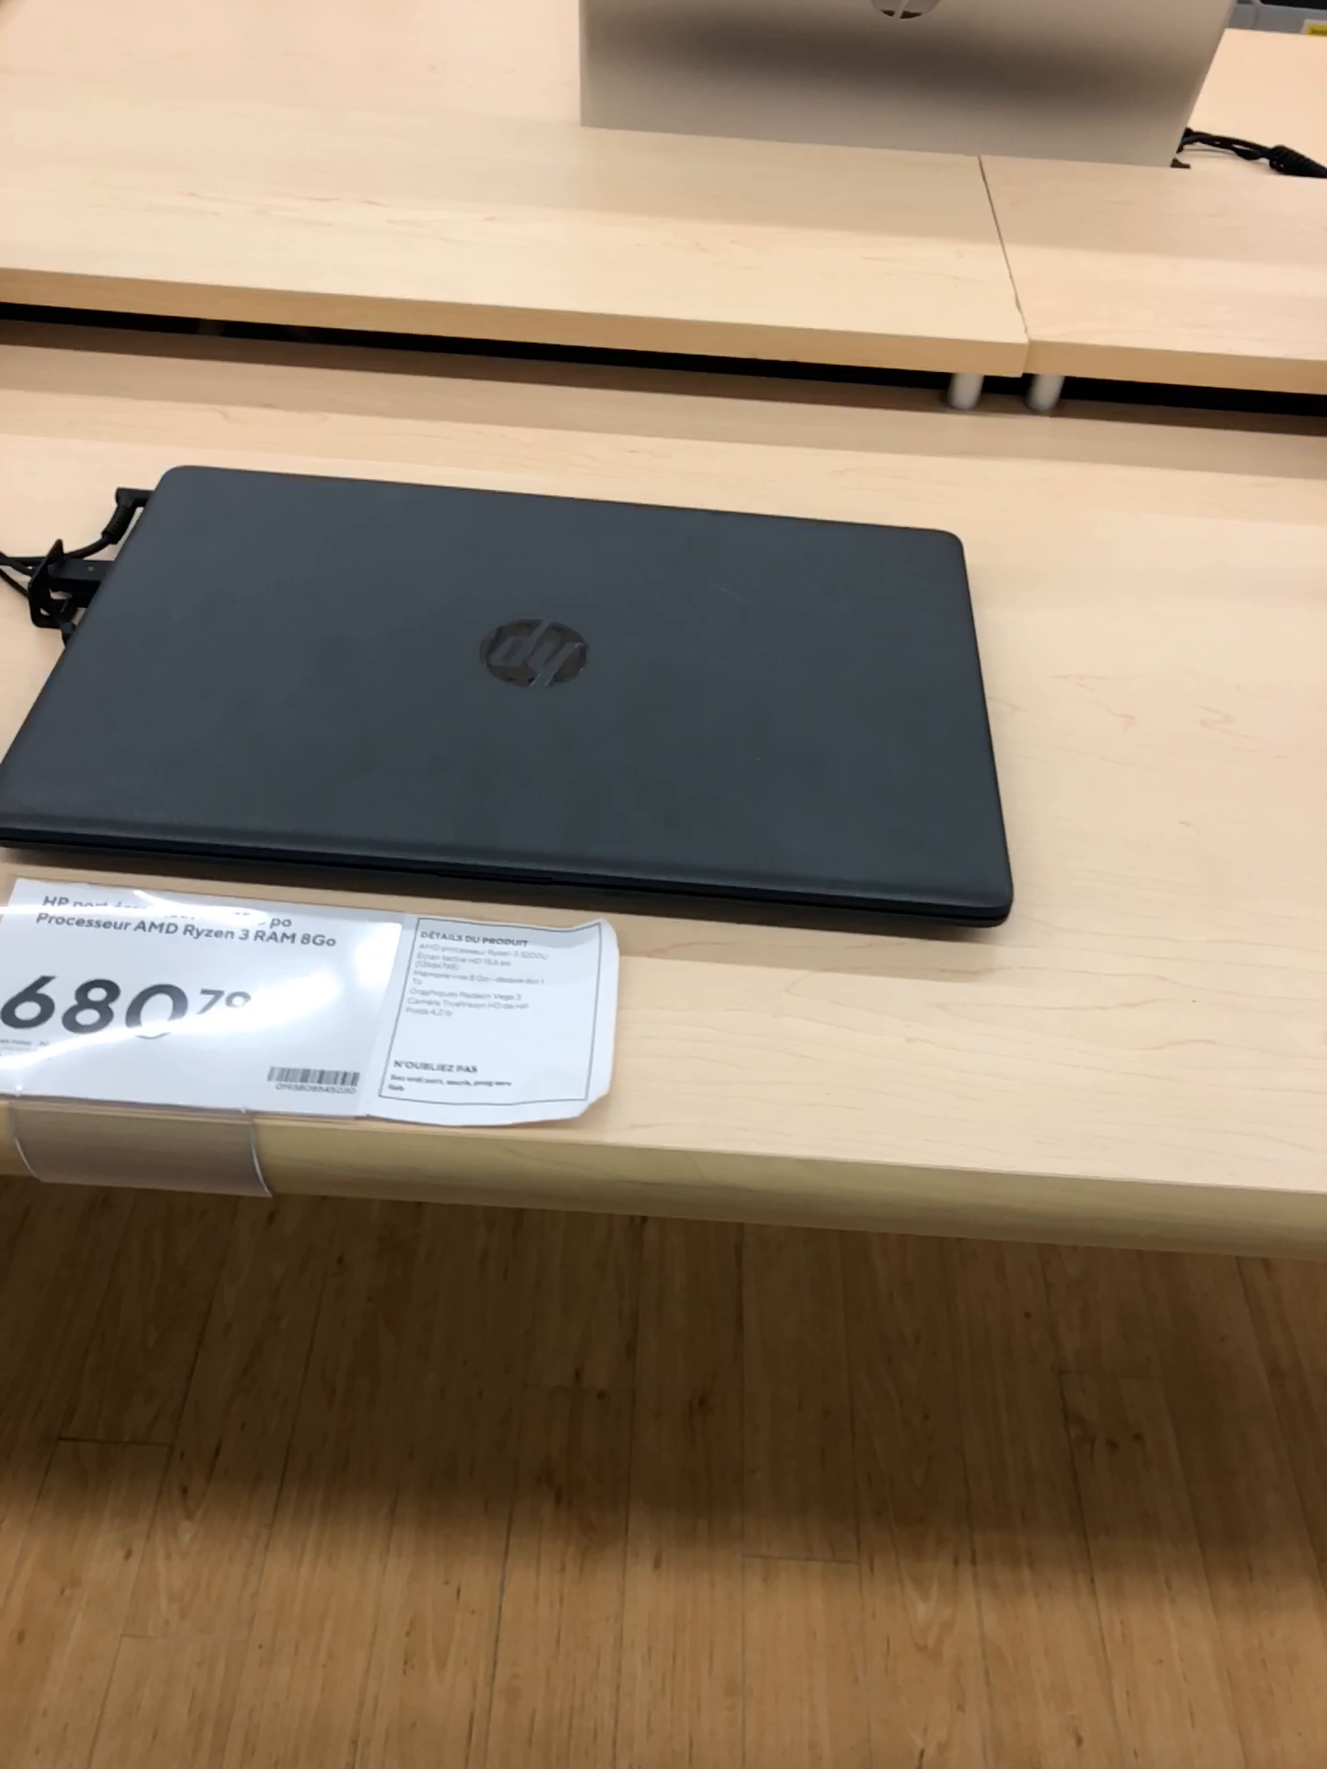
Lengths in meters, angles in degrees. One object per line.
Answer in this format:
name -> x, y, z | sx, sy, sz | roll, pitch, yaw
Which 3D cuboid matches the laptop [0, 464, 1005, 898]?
laptop -> -0.055, -0.098, 0.618 | 0.373, 0.005, 0.245 | 5, 45, -1
